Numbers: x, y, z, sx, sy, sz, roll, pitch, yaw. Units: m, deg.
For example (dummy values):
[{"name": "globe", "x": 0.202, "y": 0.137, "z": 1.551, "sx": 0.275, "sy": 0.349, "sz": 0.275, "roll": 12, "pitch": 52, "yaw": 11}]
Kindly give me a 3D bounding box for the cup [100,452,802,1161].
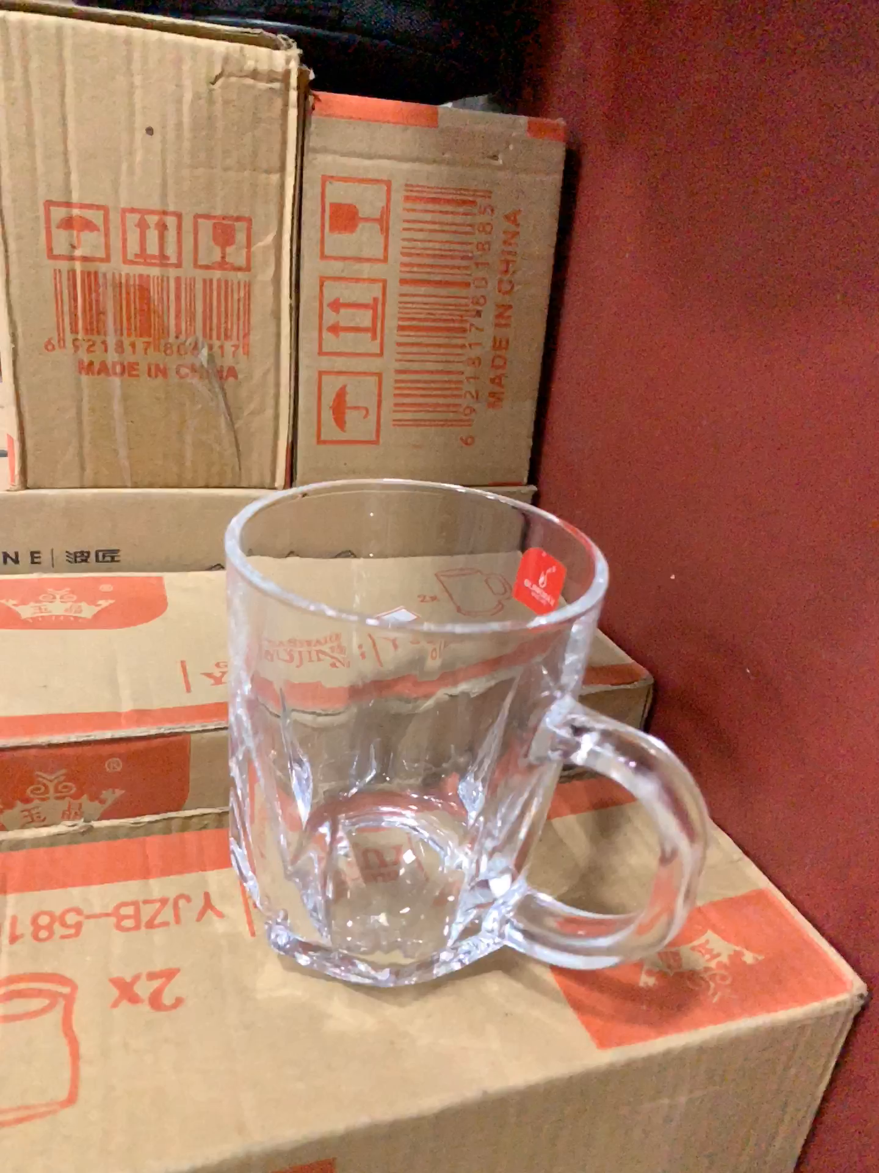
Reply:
[{"name": "cup", "x": 0.000, "y": 0.026, "z": 0.170, "sx": 0.100, "sy": 0.072, "sz": 0.069, "roll": 18, "pitch": 25, "yaw": 29}]
